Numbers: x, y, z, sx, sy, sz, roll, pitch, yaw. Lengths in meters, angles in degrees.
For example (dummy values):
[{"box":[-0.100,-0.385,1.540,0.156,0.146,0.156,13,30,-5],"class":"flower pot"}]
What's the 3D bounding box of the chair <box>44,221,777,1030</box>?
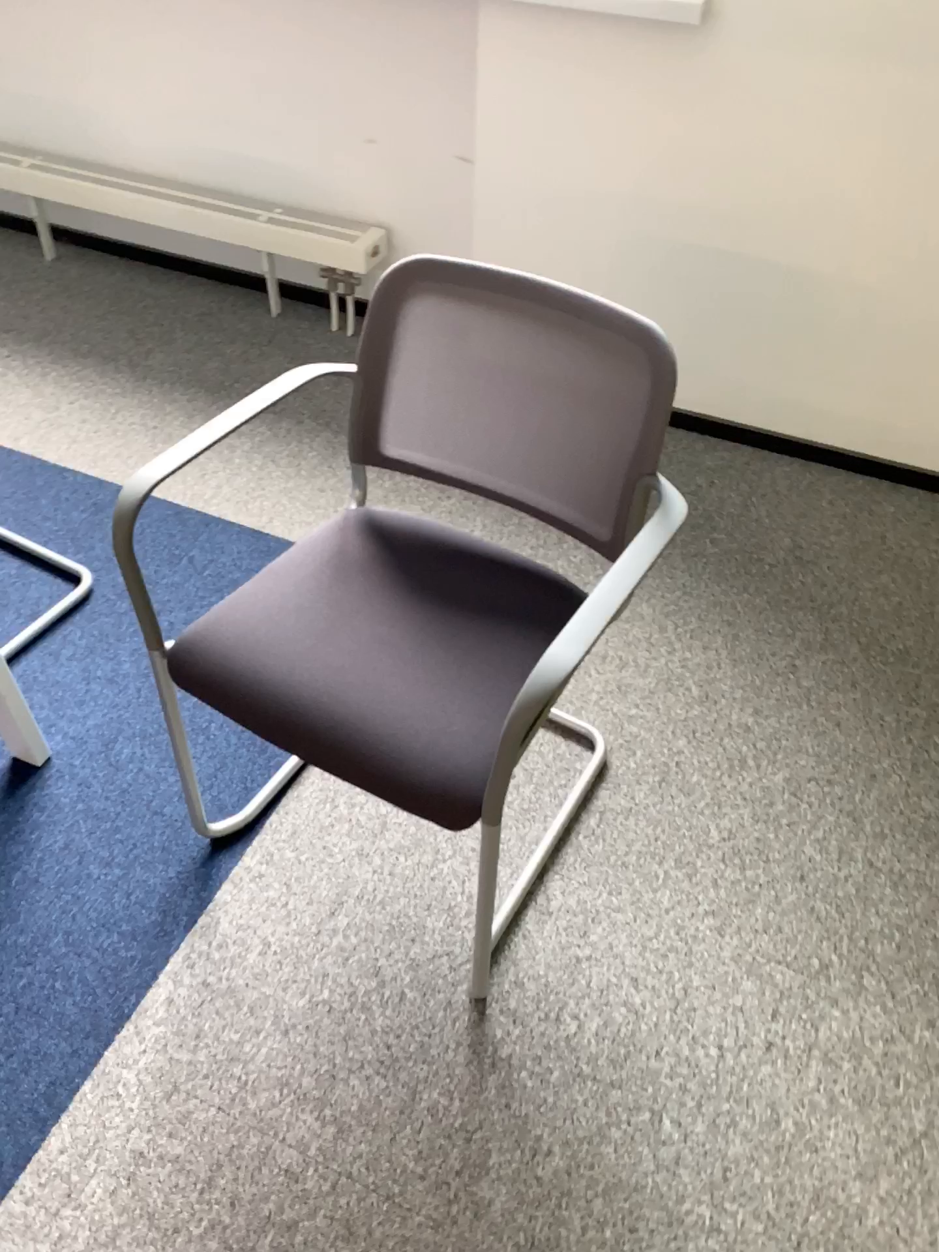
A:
[{"box":[-0.045,0.002,1.212,0.531,0.726,0.522,25,50,21],"class":"chair"}]
